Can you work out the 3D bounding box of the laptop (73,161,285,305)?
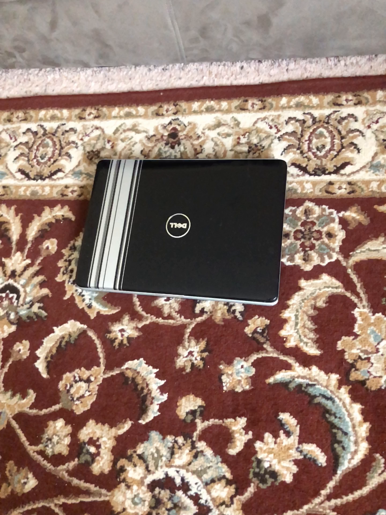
[{"bbox_3d":[-0.026,-0.054,0.745,0.351,0.015,0.242,4,76,14],"label":"laptop"}]
